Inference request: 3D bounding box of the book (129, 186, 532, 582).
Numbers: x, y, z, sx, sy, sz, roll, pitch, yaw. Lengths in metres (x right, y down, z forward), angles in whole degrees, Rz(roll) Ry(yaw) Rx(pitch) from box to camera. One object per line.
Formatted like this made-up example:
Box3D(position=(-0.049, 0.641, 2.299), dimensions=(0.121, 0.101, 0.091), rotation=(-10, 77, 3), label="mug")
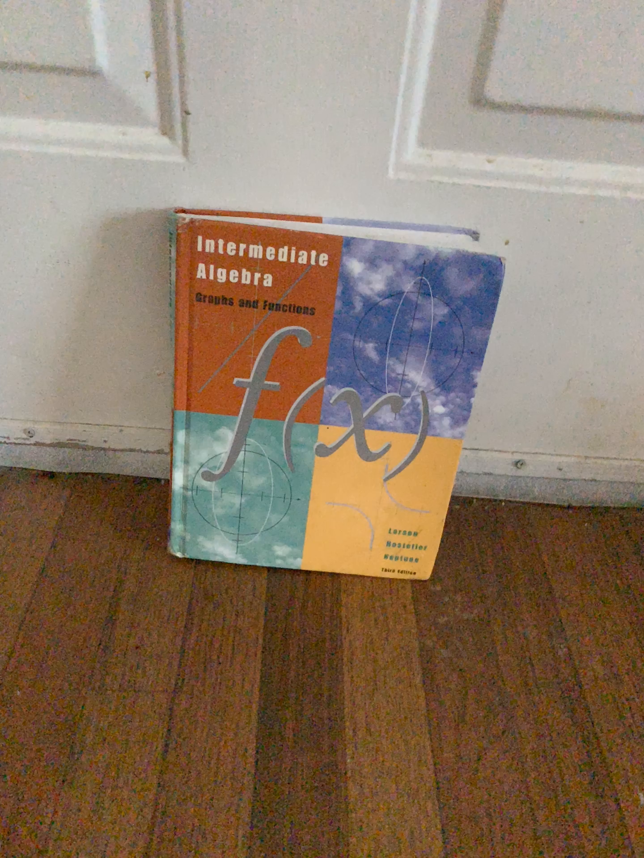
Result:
Box3D(position=(-0.003, -0.024, 0.455), dimensions=(0.230, 0.249, 0.060), rotation=(5, 25, 1), label="book")
